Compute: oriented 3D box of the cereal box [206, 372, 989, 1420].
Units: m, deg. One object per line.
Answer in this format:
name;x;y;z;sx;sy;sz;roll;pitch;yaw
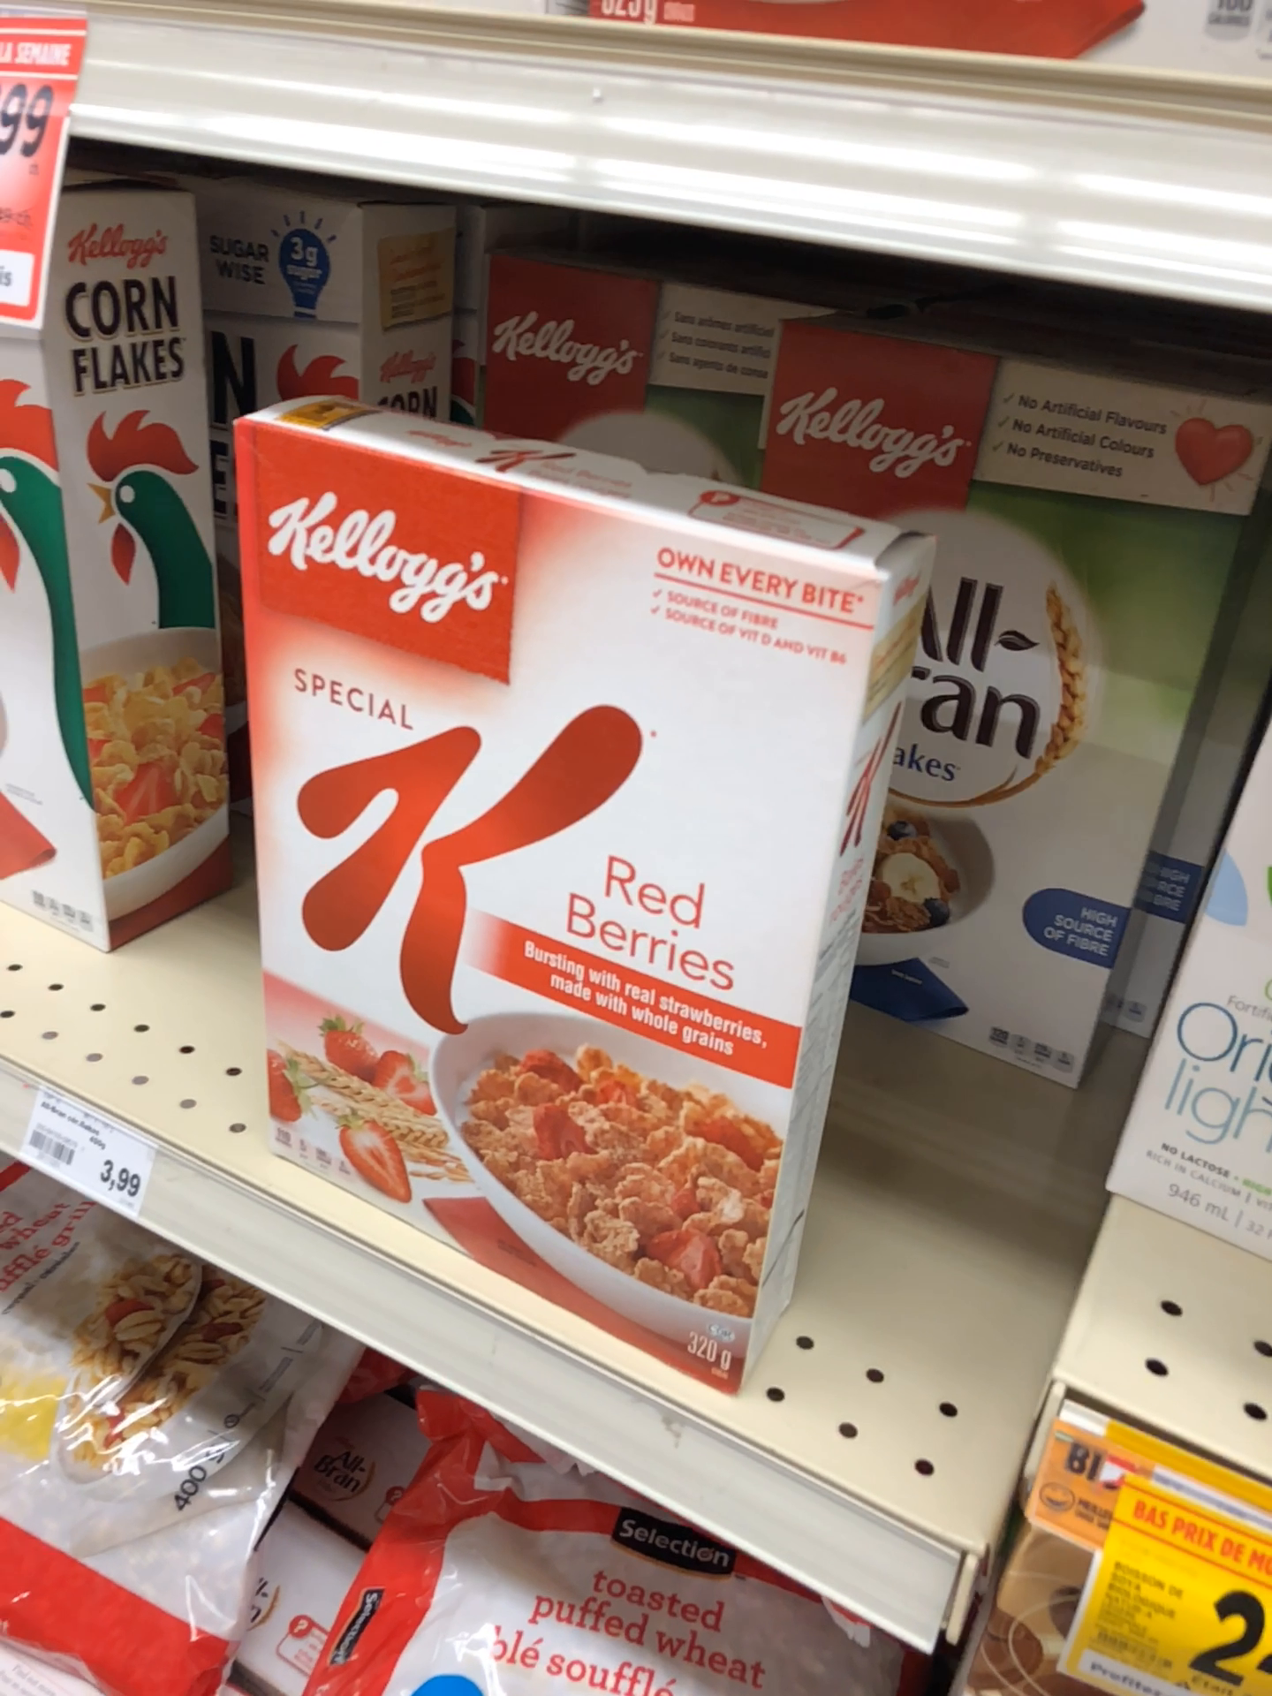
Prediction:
cereal box;-0.027;0.016;0.441;0.210;0.278;0.060;20;32;24
